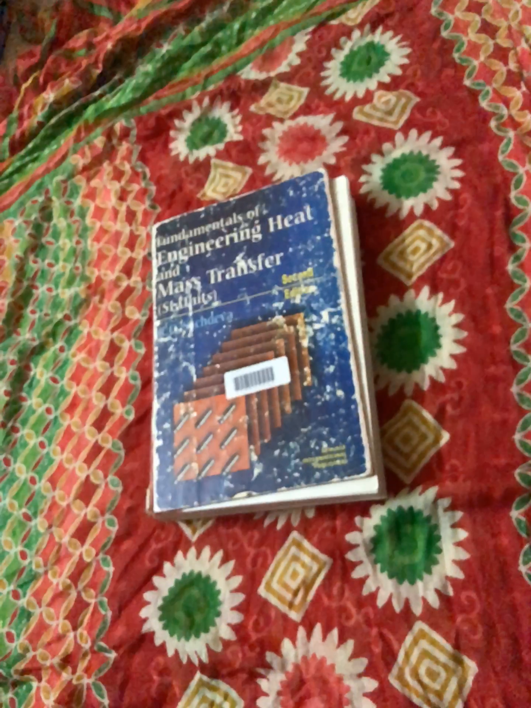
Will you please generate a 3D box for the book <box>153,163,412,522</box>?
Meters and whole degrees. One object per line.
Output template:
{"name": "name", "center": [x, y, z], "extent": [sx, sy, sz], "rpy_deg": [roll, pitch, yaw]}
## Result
{"name": "book", "center": [0.002, -0.005, 0.393], "extent": [0.150, 0.043, 0.209], "rpy_deg": [-12, 67, 21]}
